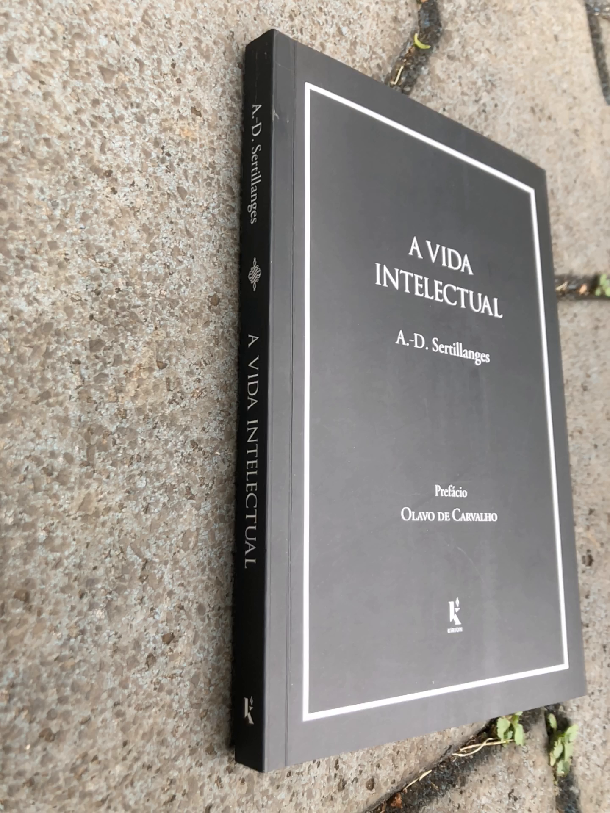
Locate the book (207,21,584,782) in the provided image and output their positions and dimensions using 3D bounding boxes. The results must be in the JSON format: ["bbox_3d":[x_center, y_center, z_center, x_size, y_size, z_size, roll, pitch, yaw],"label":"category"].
[{"bbox_3d":[0.037,-0.002,0.221,0.137,0.020,0.196,8,78,-36],"label":"book"}]
